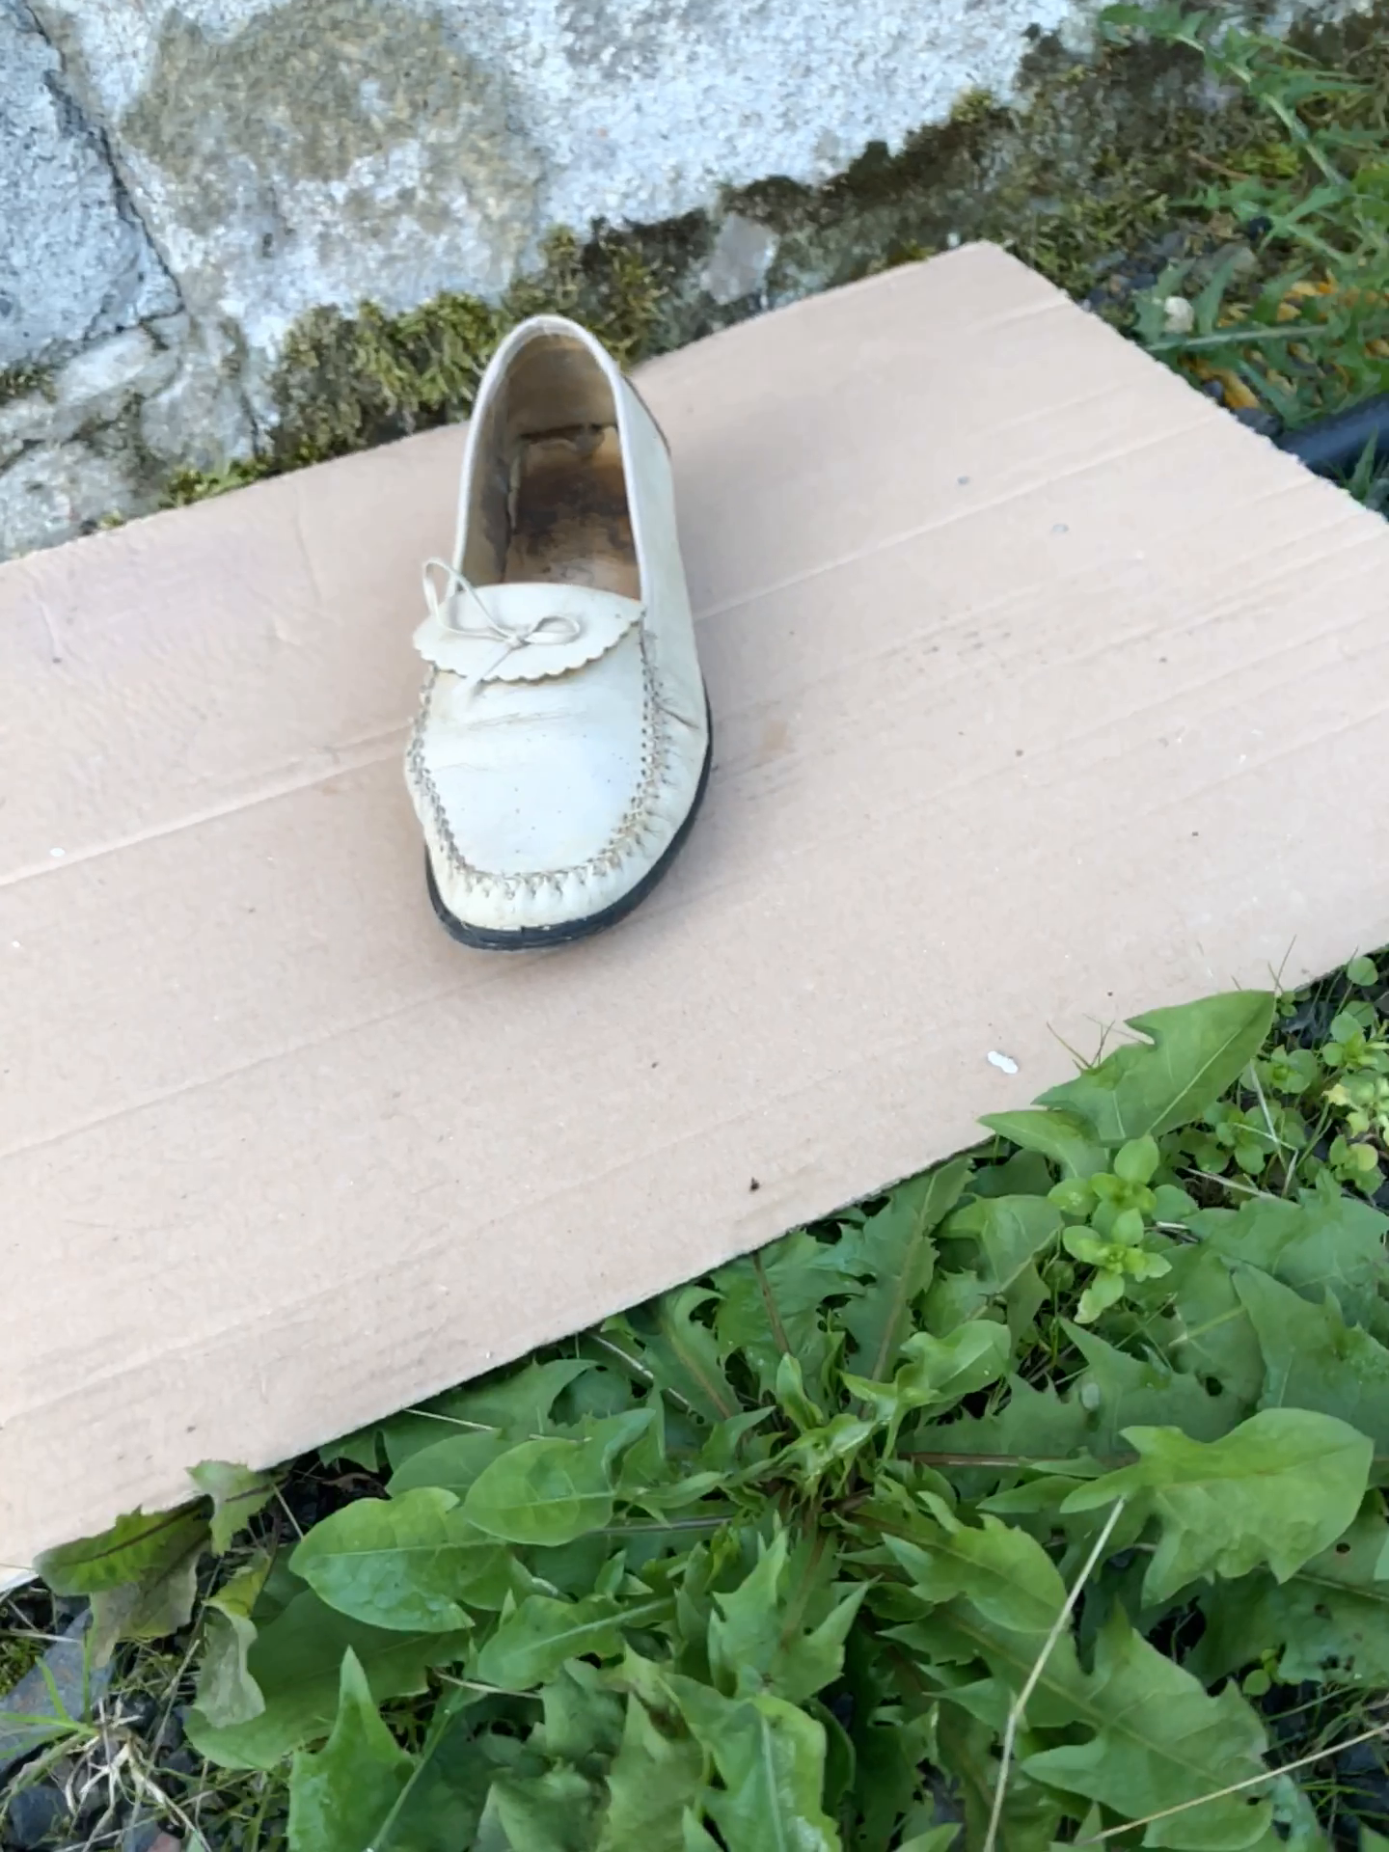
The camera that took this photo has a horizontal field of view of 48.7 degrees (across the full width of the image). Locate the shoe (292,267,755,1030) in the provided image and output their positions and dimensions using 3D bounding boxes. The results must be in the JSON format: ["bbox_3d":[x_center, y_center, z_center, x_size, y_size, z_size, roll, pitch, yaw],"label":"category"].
[{"bbox_3d":[-0.041,-0.101,0.488,0.100,0.080,0.261,-9,47,10],"label":"shoe"}]
